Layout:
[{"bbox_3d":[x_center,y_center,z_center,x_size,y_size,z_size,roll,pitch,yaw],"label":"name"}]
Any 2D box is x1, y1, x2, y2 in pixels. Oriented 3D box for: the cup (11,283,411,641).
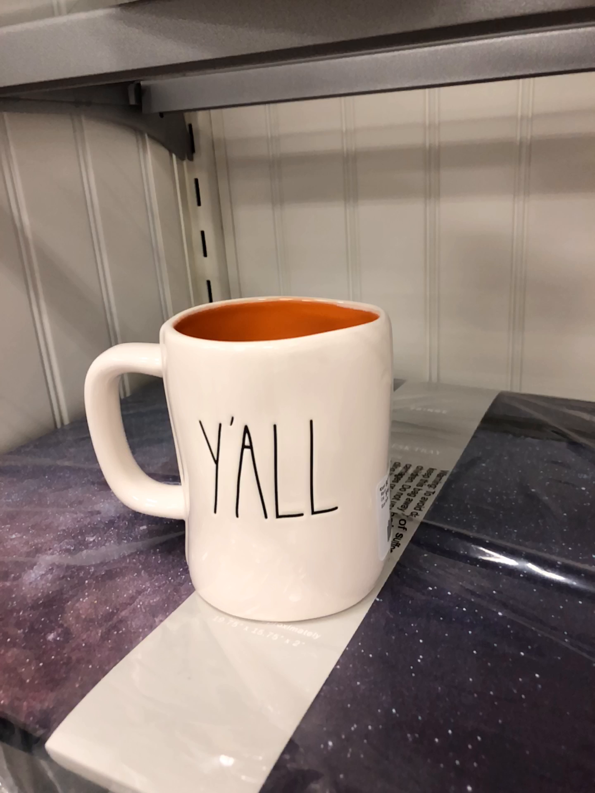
[{"bbox_3d":[-0.026,0.019,0.294,0.140,0.119,0.091,2,21,17],"label":"cup"}]
